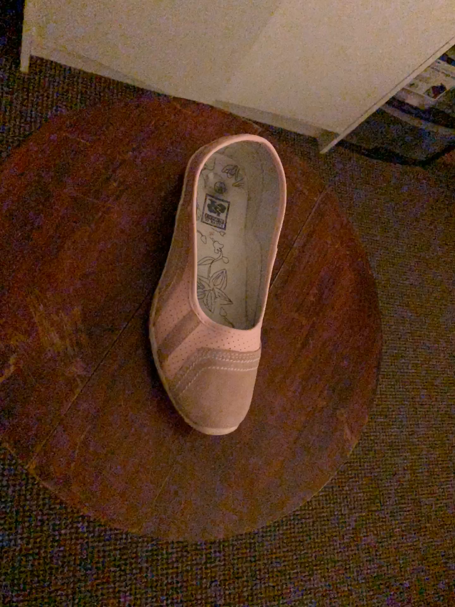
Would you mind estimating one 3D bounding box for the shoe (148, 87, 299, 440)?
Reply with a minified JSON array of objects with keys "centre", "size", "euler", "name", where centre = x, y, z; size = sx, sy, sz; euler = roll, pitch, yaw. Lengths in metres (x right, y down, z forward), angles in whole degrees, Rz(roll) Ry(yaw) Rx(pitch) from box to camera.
[{"centre":[-0.003,-0.030,0.383],"size":[0.090,0.070,0.271],"euler":[9,71,-24],"name":"shoe"}]
